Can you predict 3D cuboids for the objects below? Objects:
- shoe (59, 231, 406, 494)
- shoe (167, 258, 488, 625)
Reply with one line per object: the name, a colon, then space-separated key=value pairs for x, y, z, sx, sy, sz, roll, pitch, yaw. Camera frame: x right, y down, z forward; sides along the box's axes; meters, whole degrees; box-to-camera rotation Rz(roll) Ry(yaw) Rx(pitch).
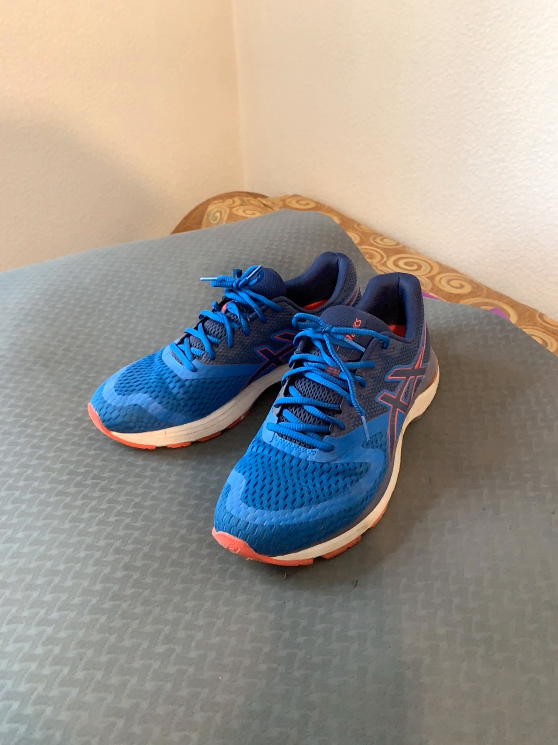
shoe: x=-0.034 y=-0.026 z=0.561 sx=0.300 sy=0.109 sz=0.121 roll=-25 pitch=44 yaw=-26
shoe: x=0.059 y=0.029 z=0.482 sx=0.120 sy=0.109 sz=0.301 roll=21 pitch=44 yaw=26
